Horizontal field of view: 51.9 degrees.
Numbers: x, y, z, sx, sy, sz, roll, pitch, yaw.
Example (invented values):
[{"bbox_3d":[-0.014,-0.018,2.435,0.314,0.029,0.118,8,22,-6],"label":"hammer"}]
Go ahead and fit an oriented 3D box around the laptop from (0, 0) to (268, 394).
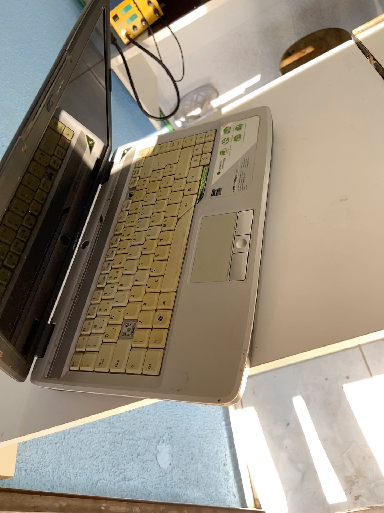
[{"bbox_3d":[-0.082,-0.070,0.373,0.225,0.180,0.329,-6,57,29],"label":"laptop"}]
